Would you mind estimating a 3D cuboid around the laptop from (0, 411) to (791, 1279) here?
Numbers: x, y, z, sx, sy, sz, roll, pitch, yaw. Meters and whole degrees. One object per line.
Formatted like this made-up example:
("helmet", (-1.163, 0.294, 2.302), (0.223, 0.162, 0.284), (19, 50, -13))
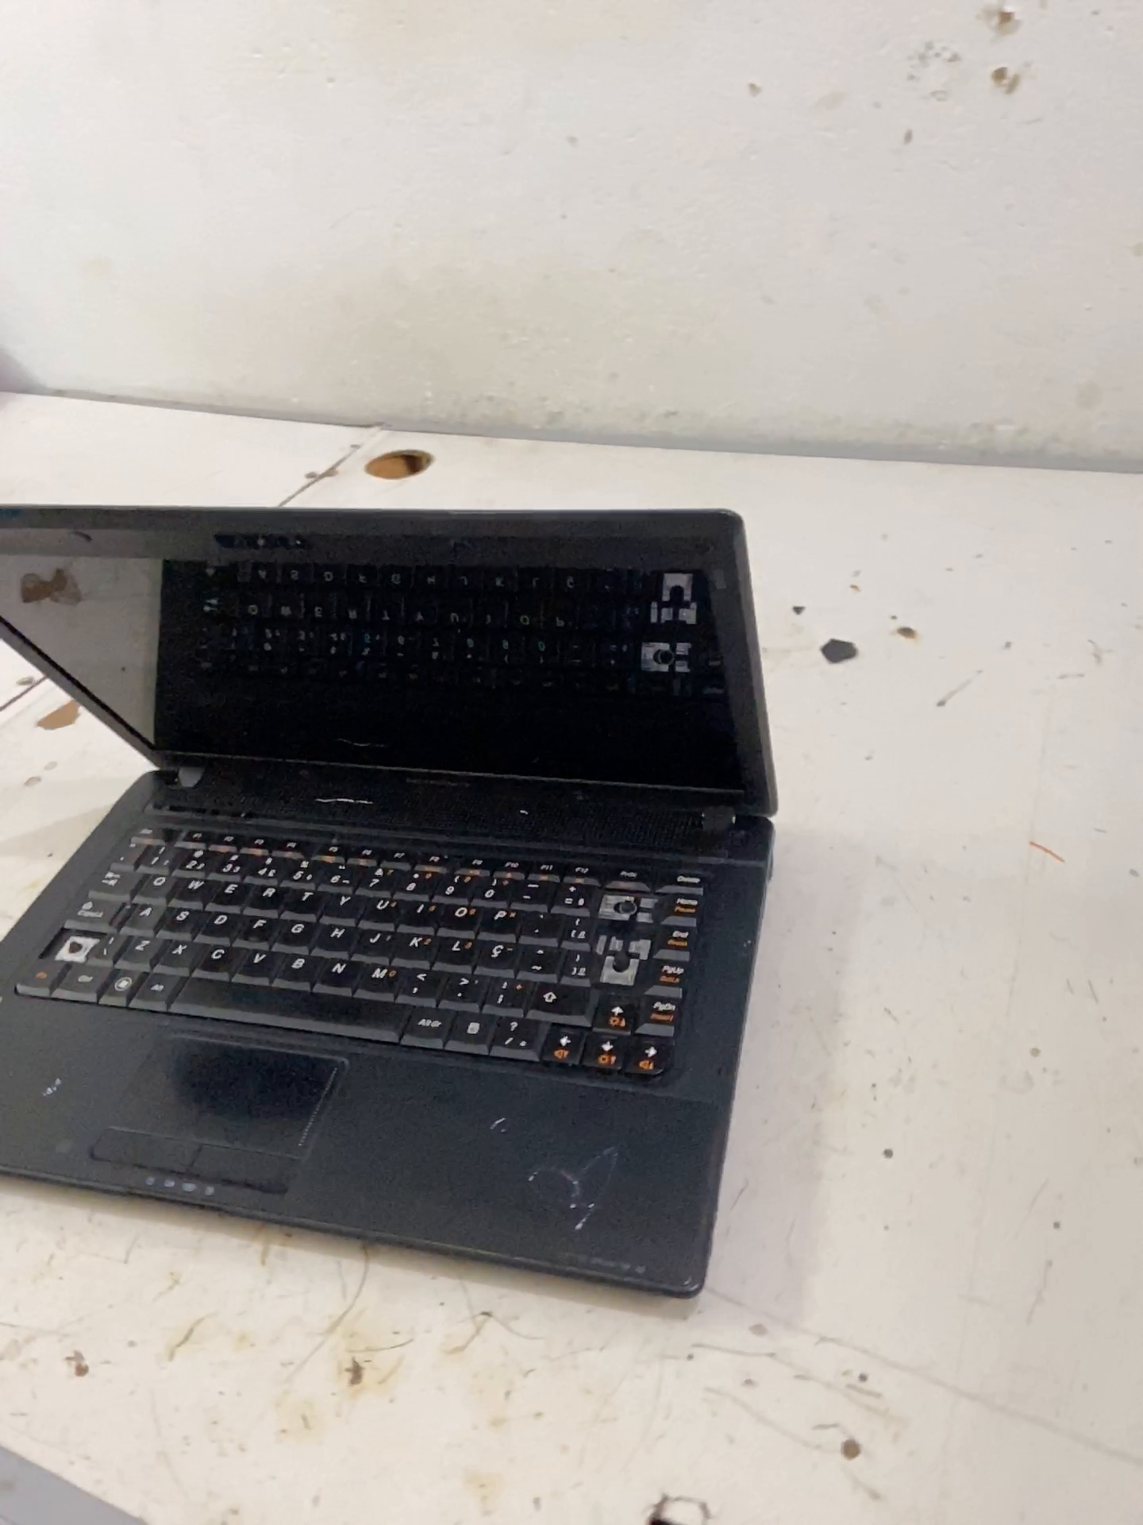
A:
("laptop", (-0.099, 0.009, 0.443), (0.333, 0.194, 0.224), (4, 39, 15))
